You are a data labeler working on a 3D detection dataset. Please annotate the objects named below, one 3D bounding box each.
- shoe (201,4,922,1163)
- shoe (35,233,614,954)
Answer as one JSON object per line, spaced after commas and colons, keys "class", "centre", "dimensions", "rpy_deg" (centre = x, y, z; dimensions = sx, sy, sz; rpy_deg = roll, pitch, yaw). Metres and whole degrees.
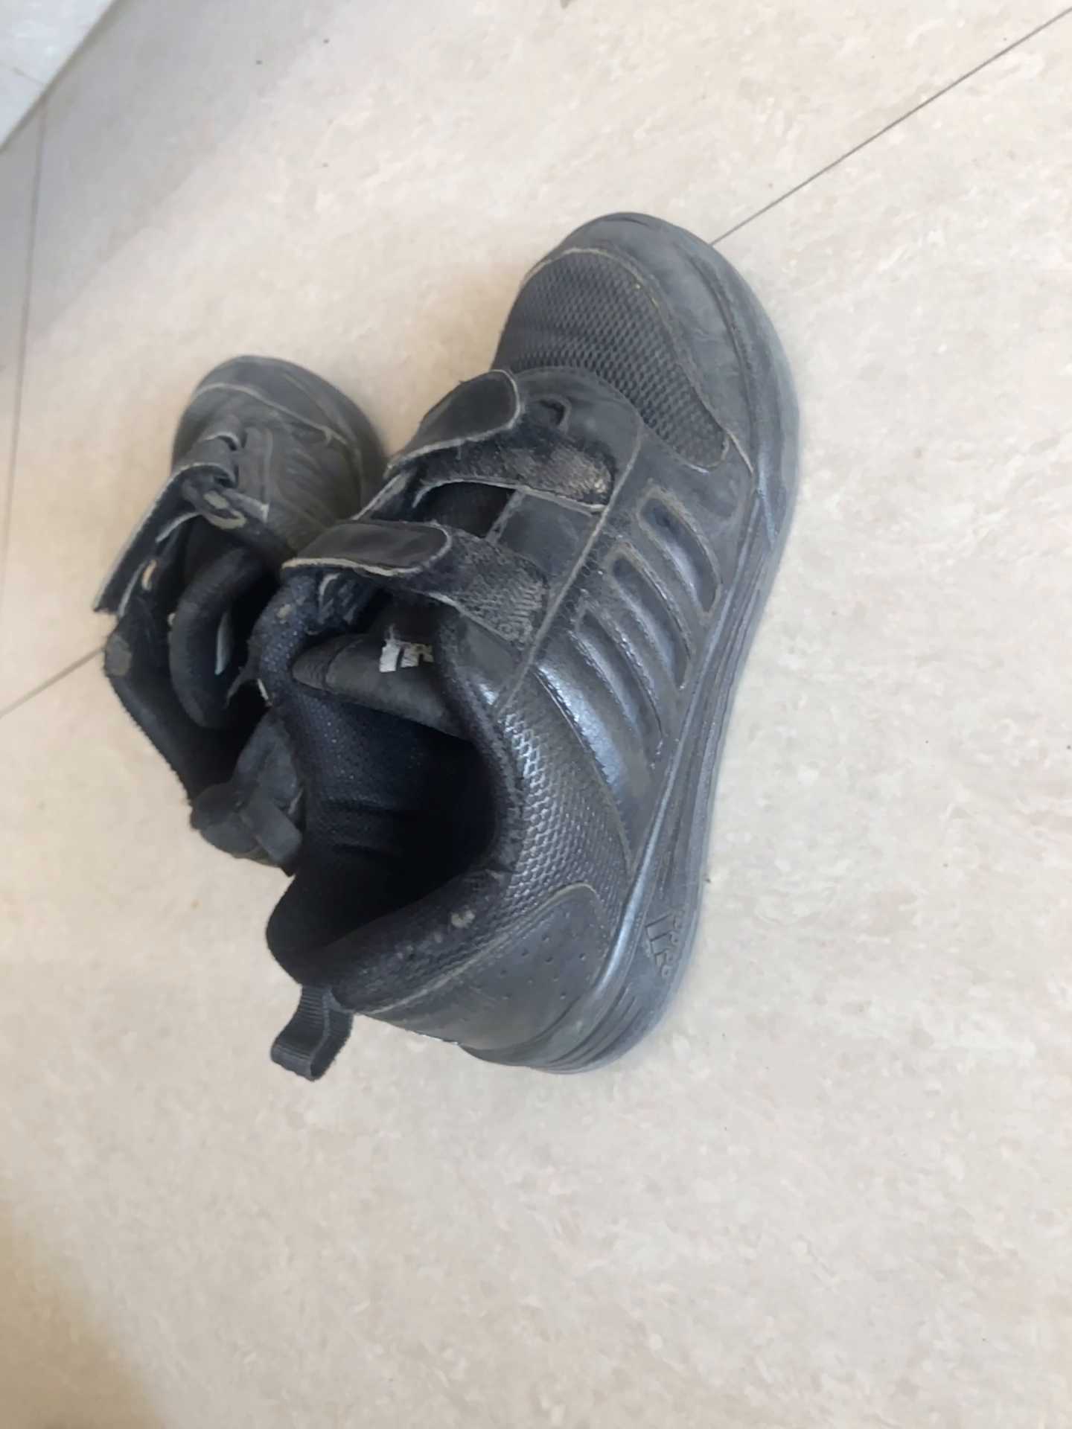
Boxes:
{"class": "shoe", "centre": [0.010, -0.022, 0.289], "dimensions": [0.101, 0.099, 0.220], "rpy_deg": [2, 80, 45]}
{"class": "shoe", "centre": [-0.078, -0.041, 0.367], "dimensions": [0.100, 0.079, 0.201], "rpy_deg": [-49, 49, 23]}
